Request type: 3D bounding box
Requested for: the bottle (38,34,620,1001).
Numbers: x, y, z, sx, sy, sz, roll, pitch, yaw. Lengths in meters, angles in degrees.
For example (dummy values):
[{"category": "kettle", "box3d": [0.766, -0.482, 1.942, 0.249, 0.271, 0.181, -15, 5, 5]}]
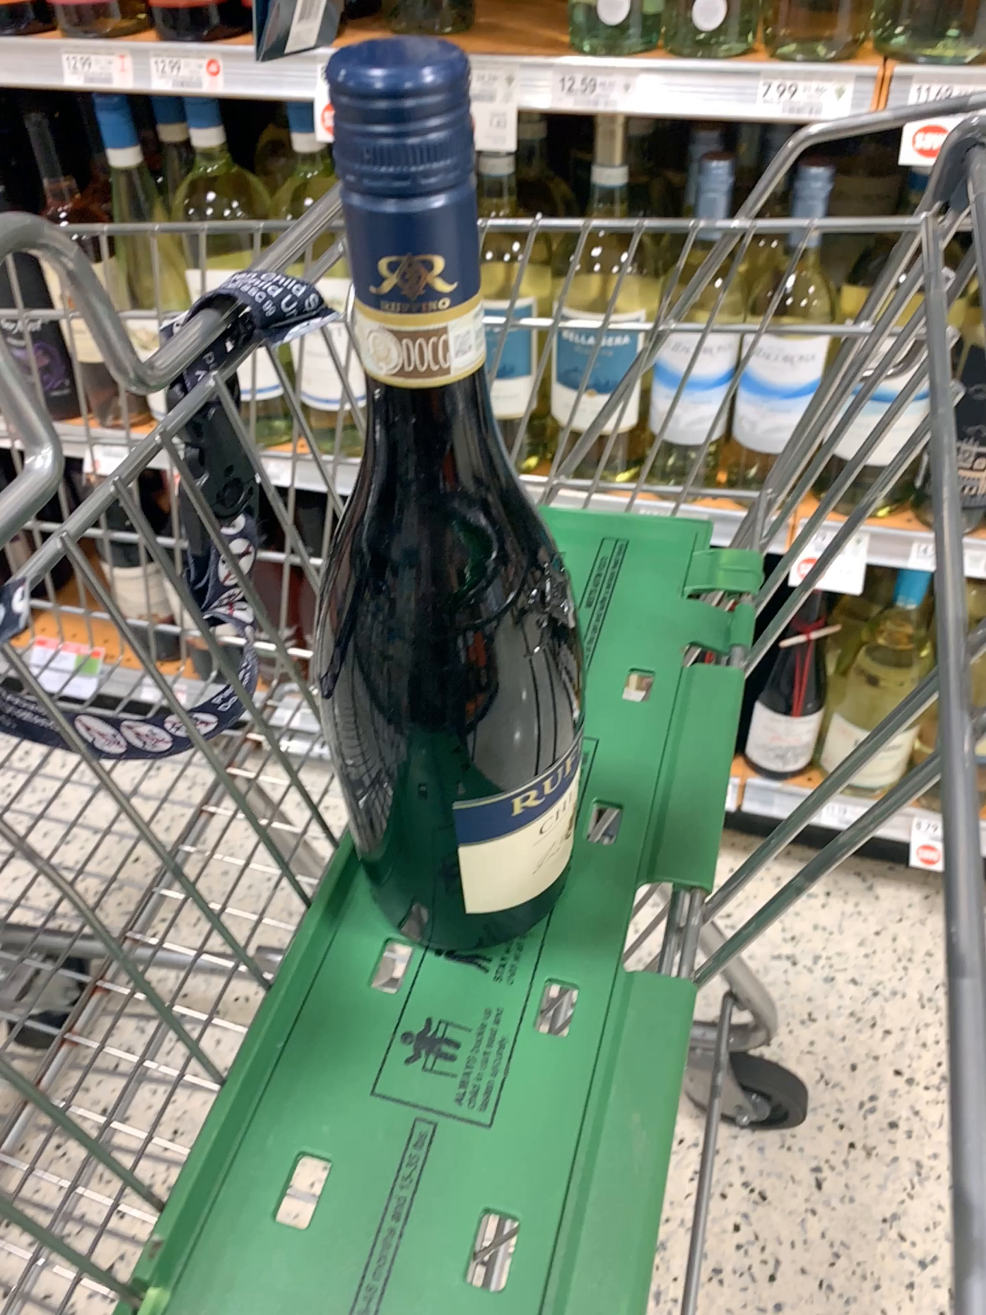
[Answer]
[{"category": "bottle", "box3d": [-0.022, -0.017, 0.298, 0.090, 0.267, 0.091, -2, 44, 2]}]
